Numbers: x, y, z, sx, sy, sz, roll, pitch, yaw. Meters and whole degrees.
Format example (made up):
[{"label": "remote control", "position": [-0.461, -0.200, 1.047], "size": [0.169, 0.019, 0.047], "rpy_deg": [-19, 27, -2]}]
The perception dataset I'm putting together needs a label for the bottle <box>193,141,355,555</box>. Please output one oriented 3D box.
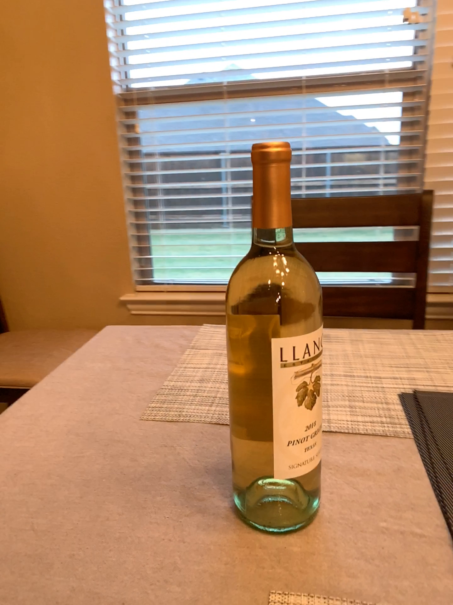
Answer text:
[{"label": "bottle", "position": [0.039, 0.032, 0.371], "size": [0.083, 0.299, 0.080], "rpy_deg": [-2, 15, 1]}]
